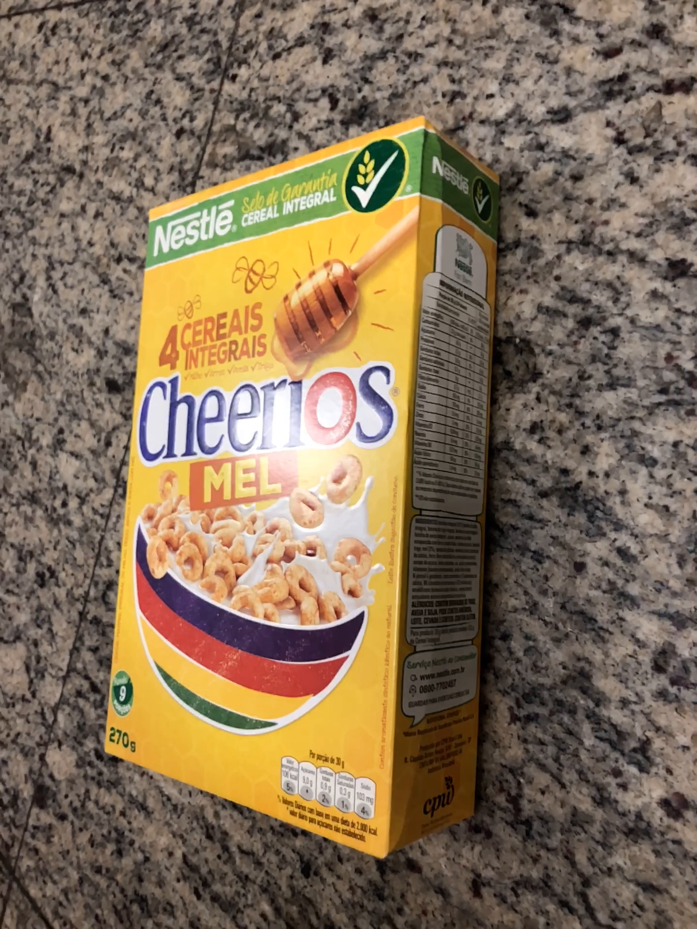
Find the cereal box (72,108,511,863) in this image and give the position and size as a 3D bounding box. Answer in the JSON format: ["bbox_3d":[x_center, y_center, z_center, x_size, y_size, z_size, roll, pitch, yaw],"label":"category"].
[{"bbox_3d":[-0.028,0.006,0.321,0.171,0.060,0.240,-2,82,38],"label":"cereal box"}]
